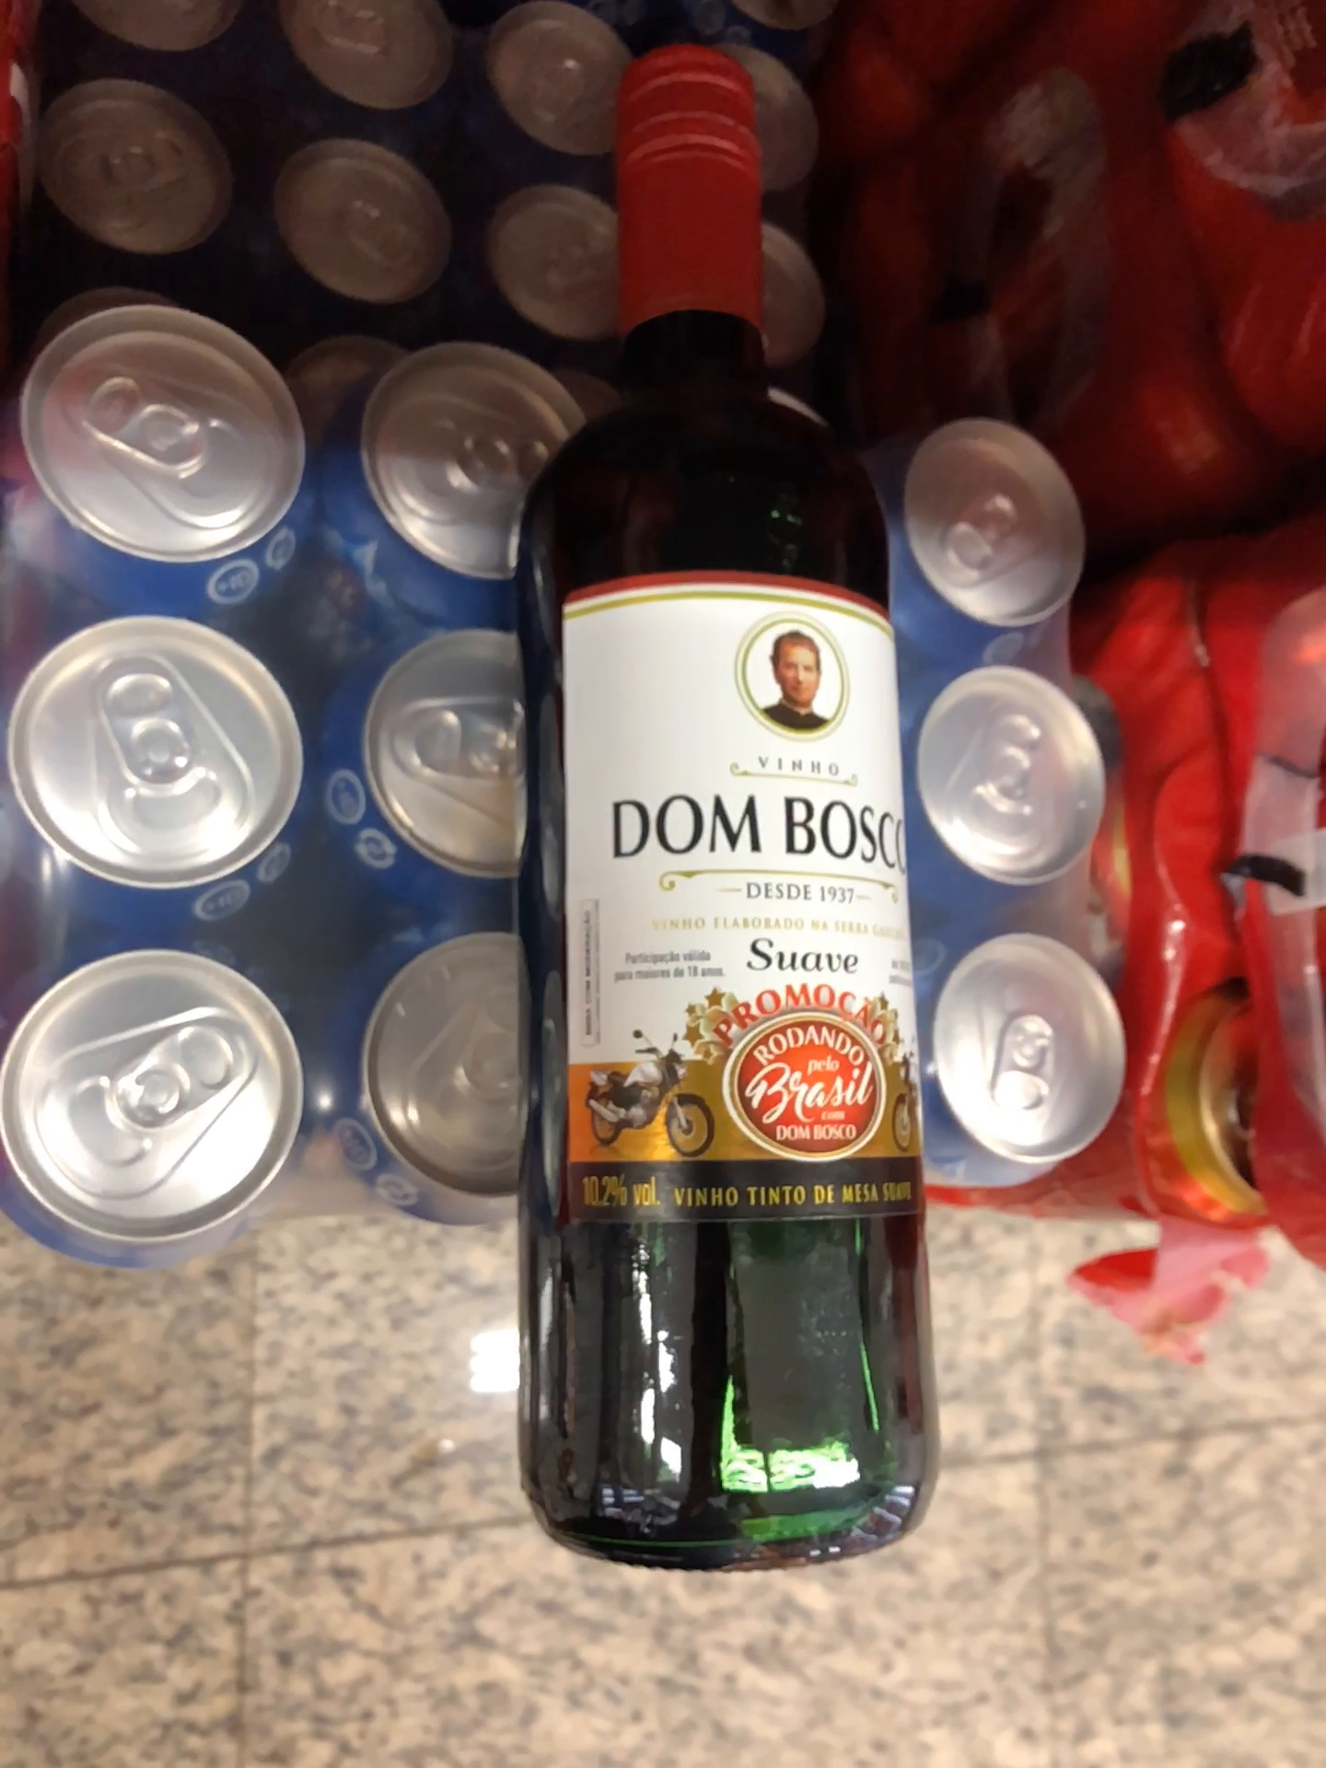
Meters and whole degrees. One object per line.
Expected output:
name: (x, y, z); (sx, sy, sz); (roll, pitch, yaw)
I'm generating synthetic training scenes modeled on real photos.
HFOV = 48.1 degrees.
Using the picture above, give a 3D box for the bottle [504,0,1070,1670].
bottle: (0.019, -0.023, 0.293); (0.080, 0.070, 0.300); (3, 81, -22)
